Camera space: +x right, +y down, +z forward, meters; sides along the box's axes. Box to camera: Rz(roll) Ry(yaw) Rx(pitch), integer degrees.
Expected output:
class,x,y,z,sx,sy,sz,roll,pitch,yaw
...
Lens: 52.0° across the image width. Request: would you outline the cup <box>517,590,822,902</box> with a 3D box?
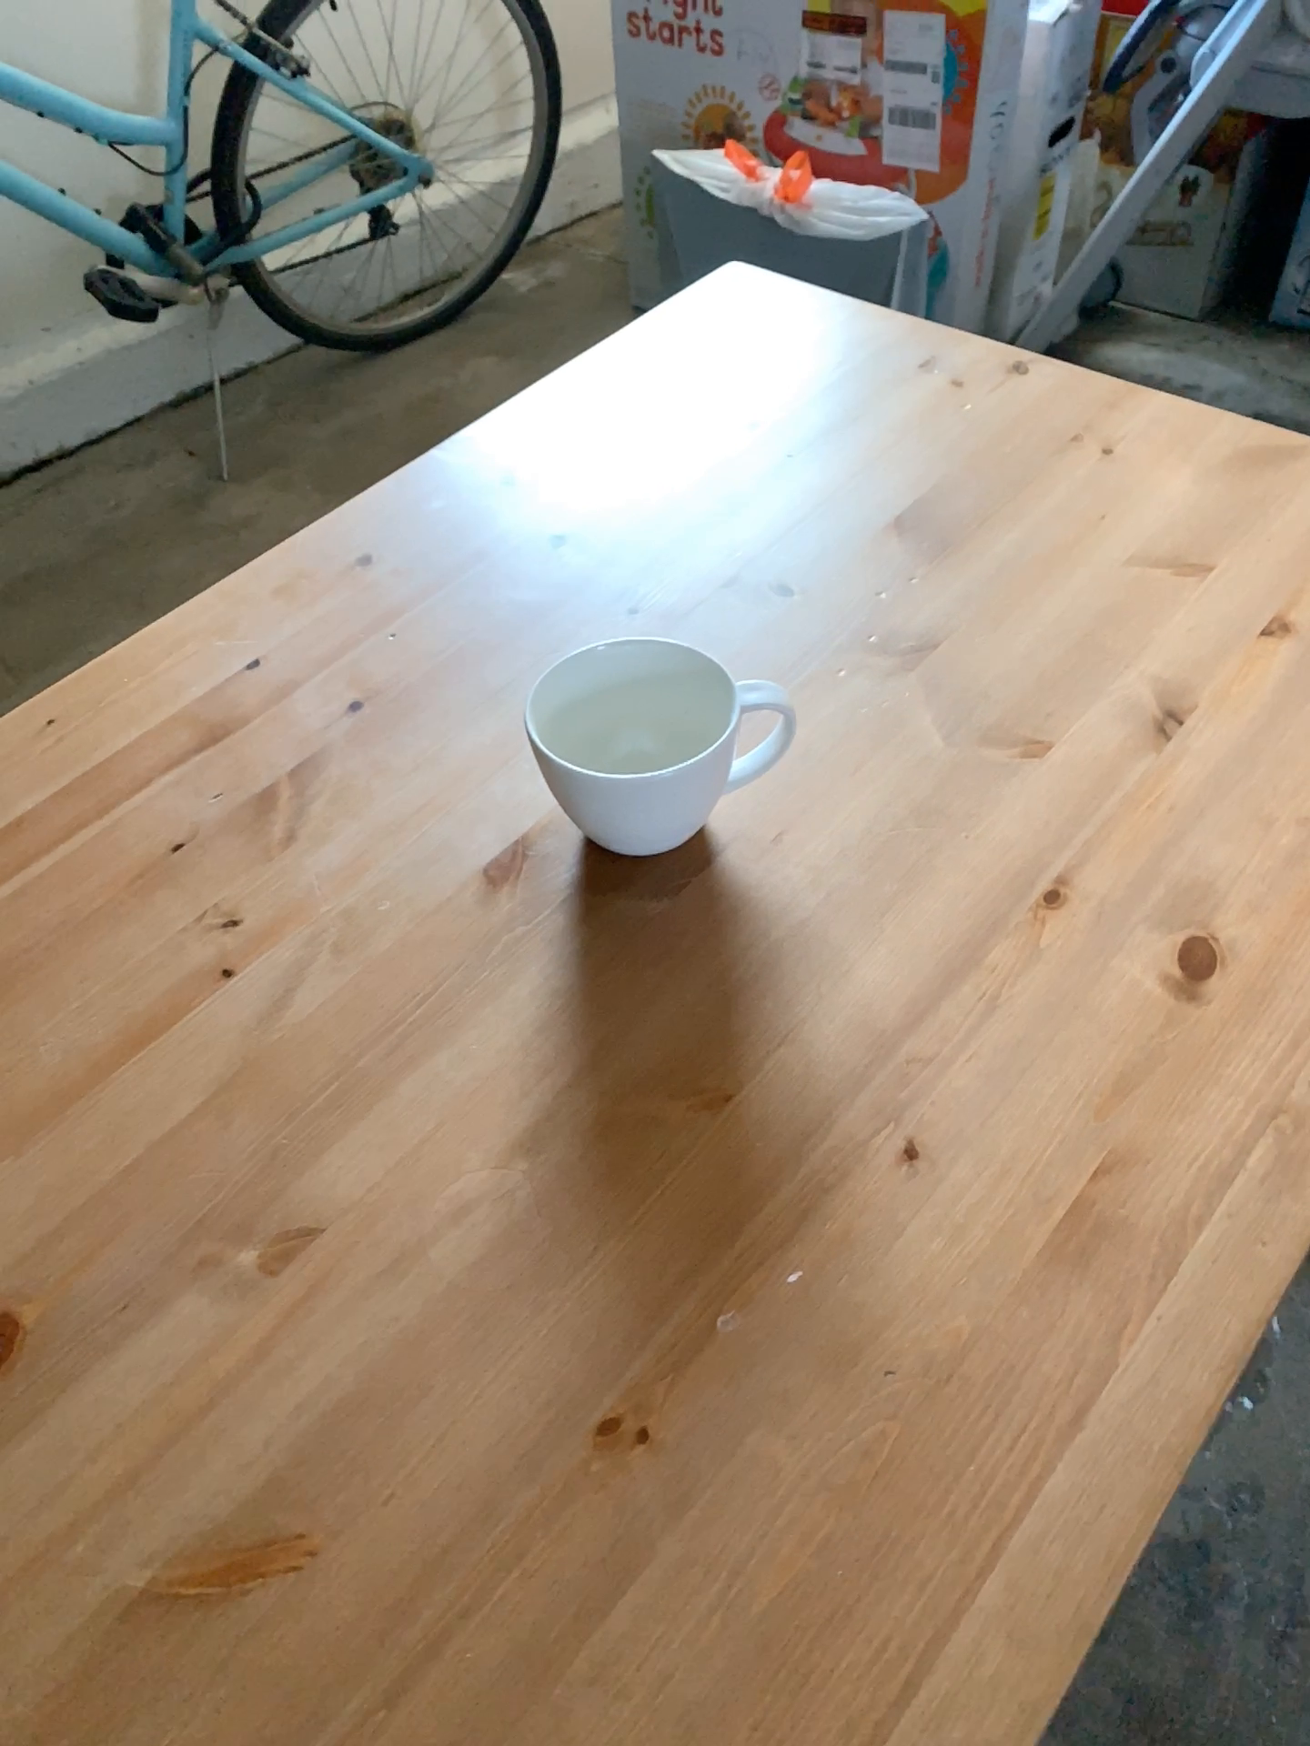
class,x,y,z,sx,sy,sz,roll,pitch,yaw
cup,0.008,-0.067,0.701,0.130,0.100,0.090,-16,49,-9
